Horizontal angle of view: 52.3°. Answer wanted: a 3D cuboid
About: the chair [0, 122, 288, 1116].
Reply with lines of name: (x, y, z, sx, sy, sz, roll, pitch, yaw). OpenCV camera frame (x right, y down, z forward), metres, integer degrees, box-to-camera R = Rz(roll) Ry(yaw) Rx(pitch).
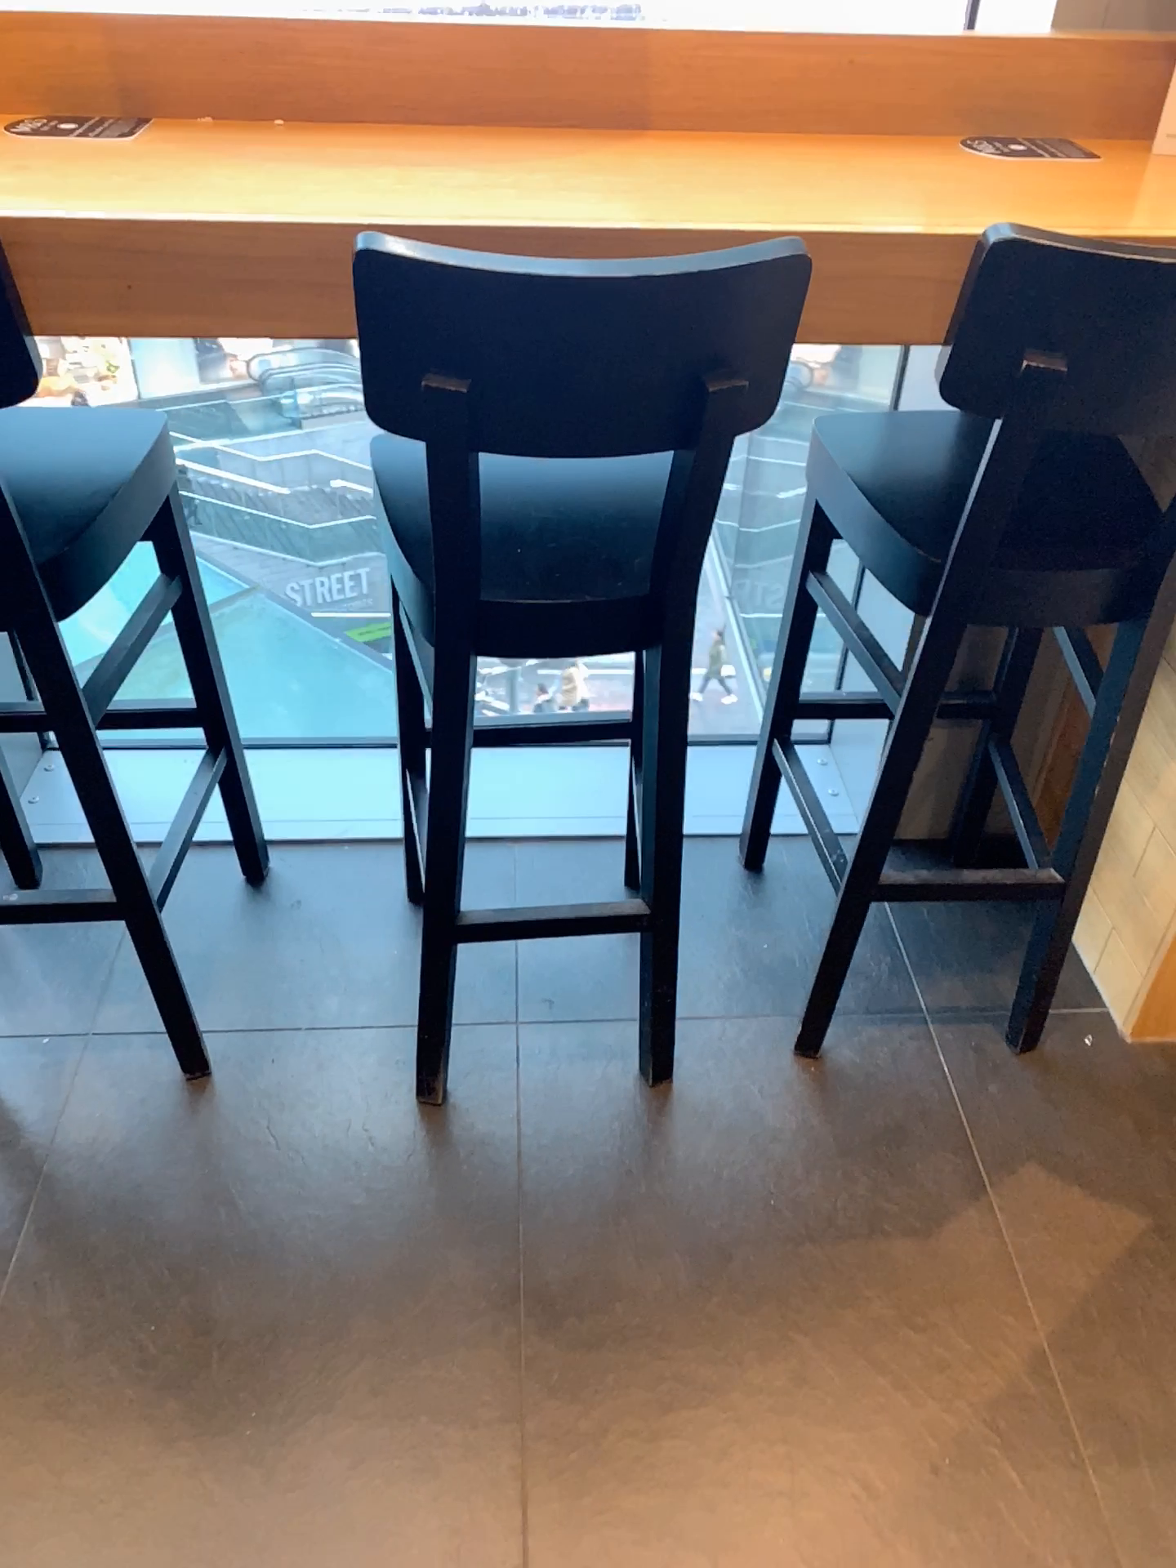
chair: (-0.637, -0.137, 1.350, 0.392, 1.001, 0.465, -1, 38, -3)

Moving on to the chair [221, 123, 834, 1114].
chair: (-0.076, -0.147, 1.367, 0.452, 1.001, 0.465, -3, 38, -6)

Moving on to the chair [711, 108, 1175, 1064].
chair: (0.435, -0.192, 1.419, 0.422, 1.001, 0.465, -2, 38, -5)
